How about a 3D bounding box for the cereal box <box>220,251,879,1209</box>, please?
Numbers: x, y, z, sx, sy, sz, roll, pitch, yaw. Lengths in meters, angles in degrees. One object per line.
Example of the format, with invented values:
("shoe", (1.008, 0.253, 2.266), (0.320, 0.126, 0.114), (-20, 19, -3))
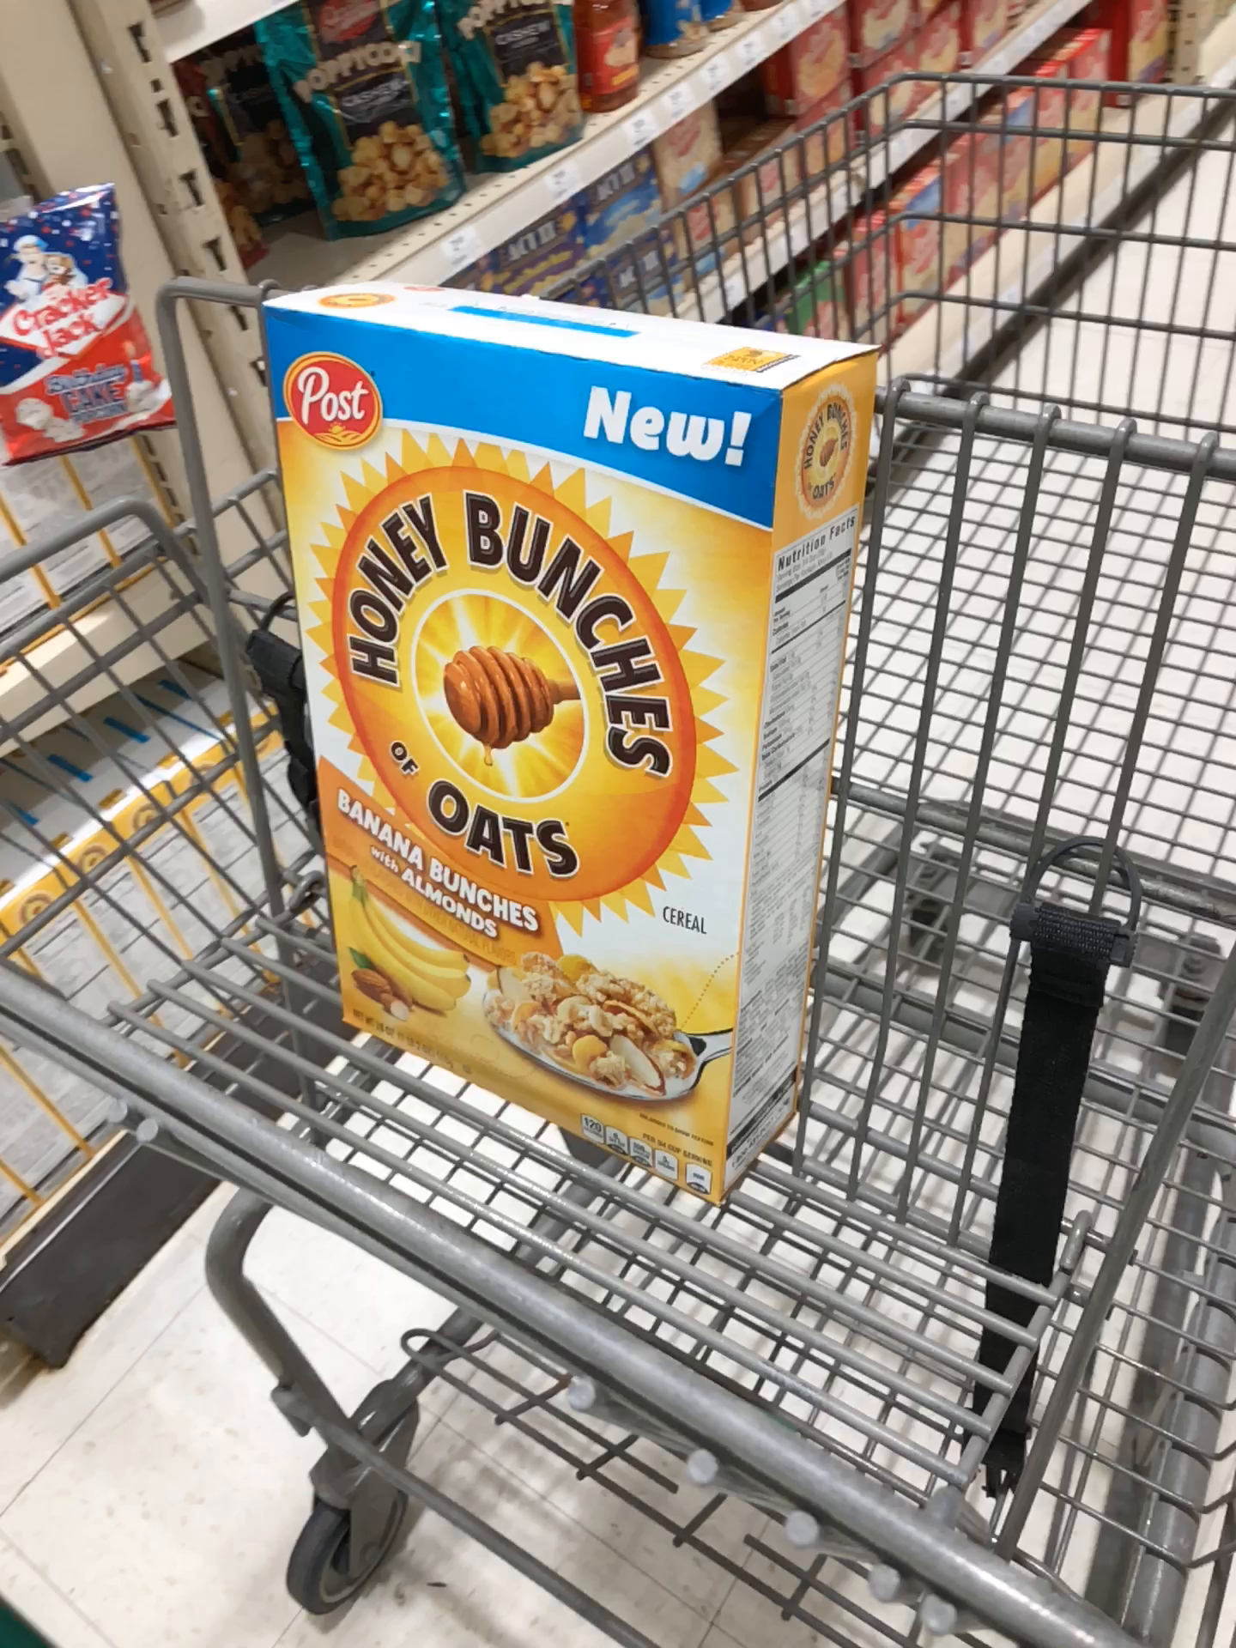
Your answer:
("cereal box", (-0.029, -0.030, 0.488), (0.200, 0.300, 0.060), (20, 36, 27))
